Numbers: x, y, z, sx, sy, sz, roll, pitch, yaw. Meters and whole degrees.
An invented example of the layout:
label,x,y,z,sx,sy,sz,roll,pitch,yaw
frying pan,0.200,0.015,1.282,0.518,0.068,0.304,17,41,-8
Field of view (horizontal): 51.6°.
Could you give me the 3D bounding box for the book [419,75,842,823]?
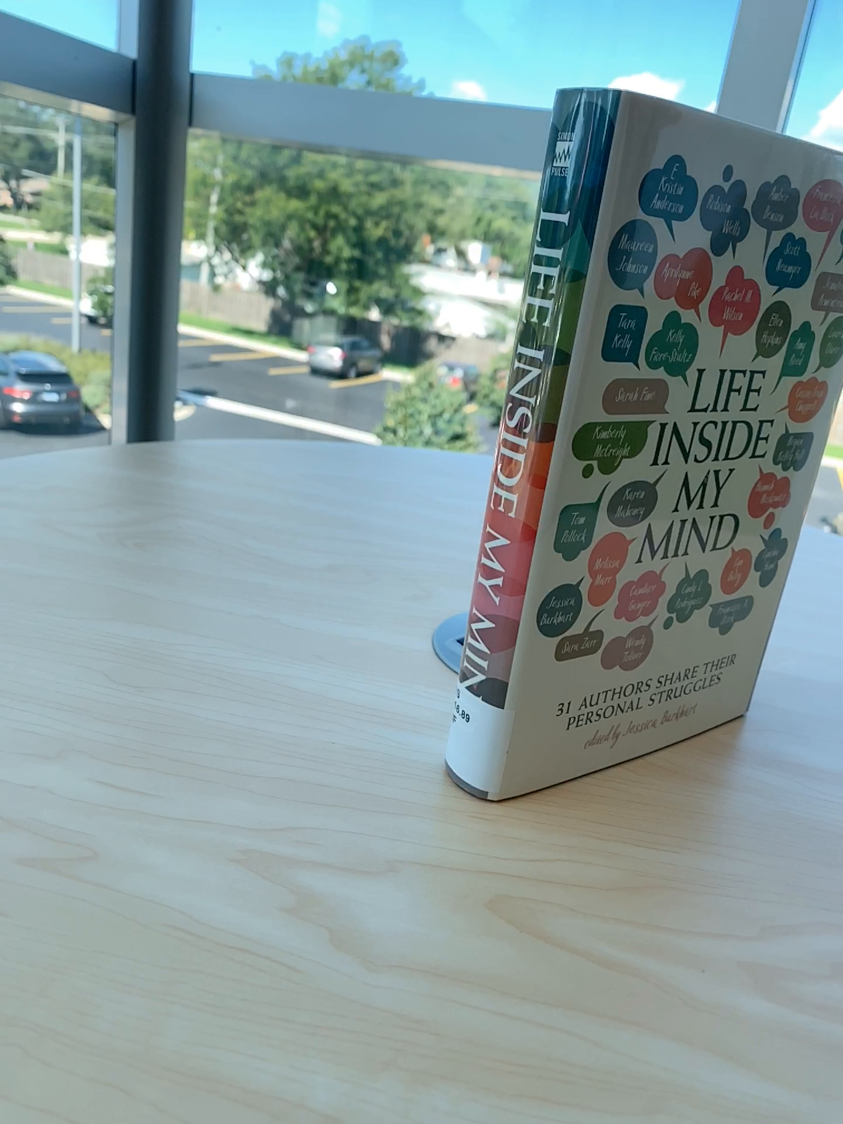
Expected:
label,x,y,z,sx,sy,sz,roll,pitch,yaw
book,0.085,-0.029,0.301,0.150,0.218,0.030,-7,27,-37
